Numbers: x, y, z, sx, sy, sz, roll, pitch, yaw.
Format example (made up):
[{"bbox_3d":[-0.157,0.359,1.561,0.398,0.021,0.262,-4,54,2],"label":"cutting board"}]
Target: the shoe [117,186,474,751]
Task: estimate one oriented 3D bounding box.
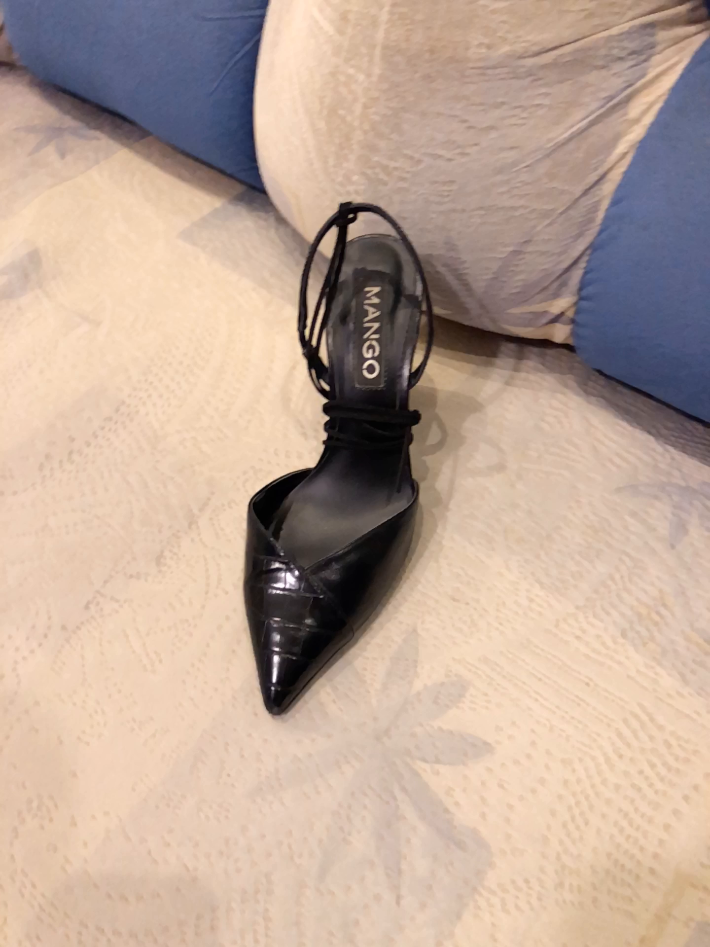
[{"bbox_3d":[-0.009,-0.013,0.380,0.083,0.119,0.241,11,55,11],"label":"shoe"}]
